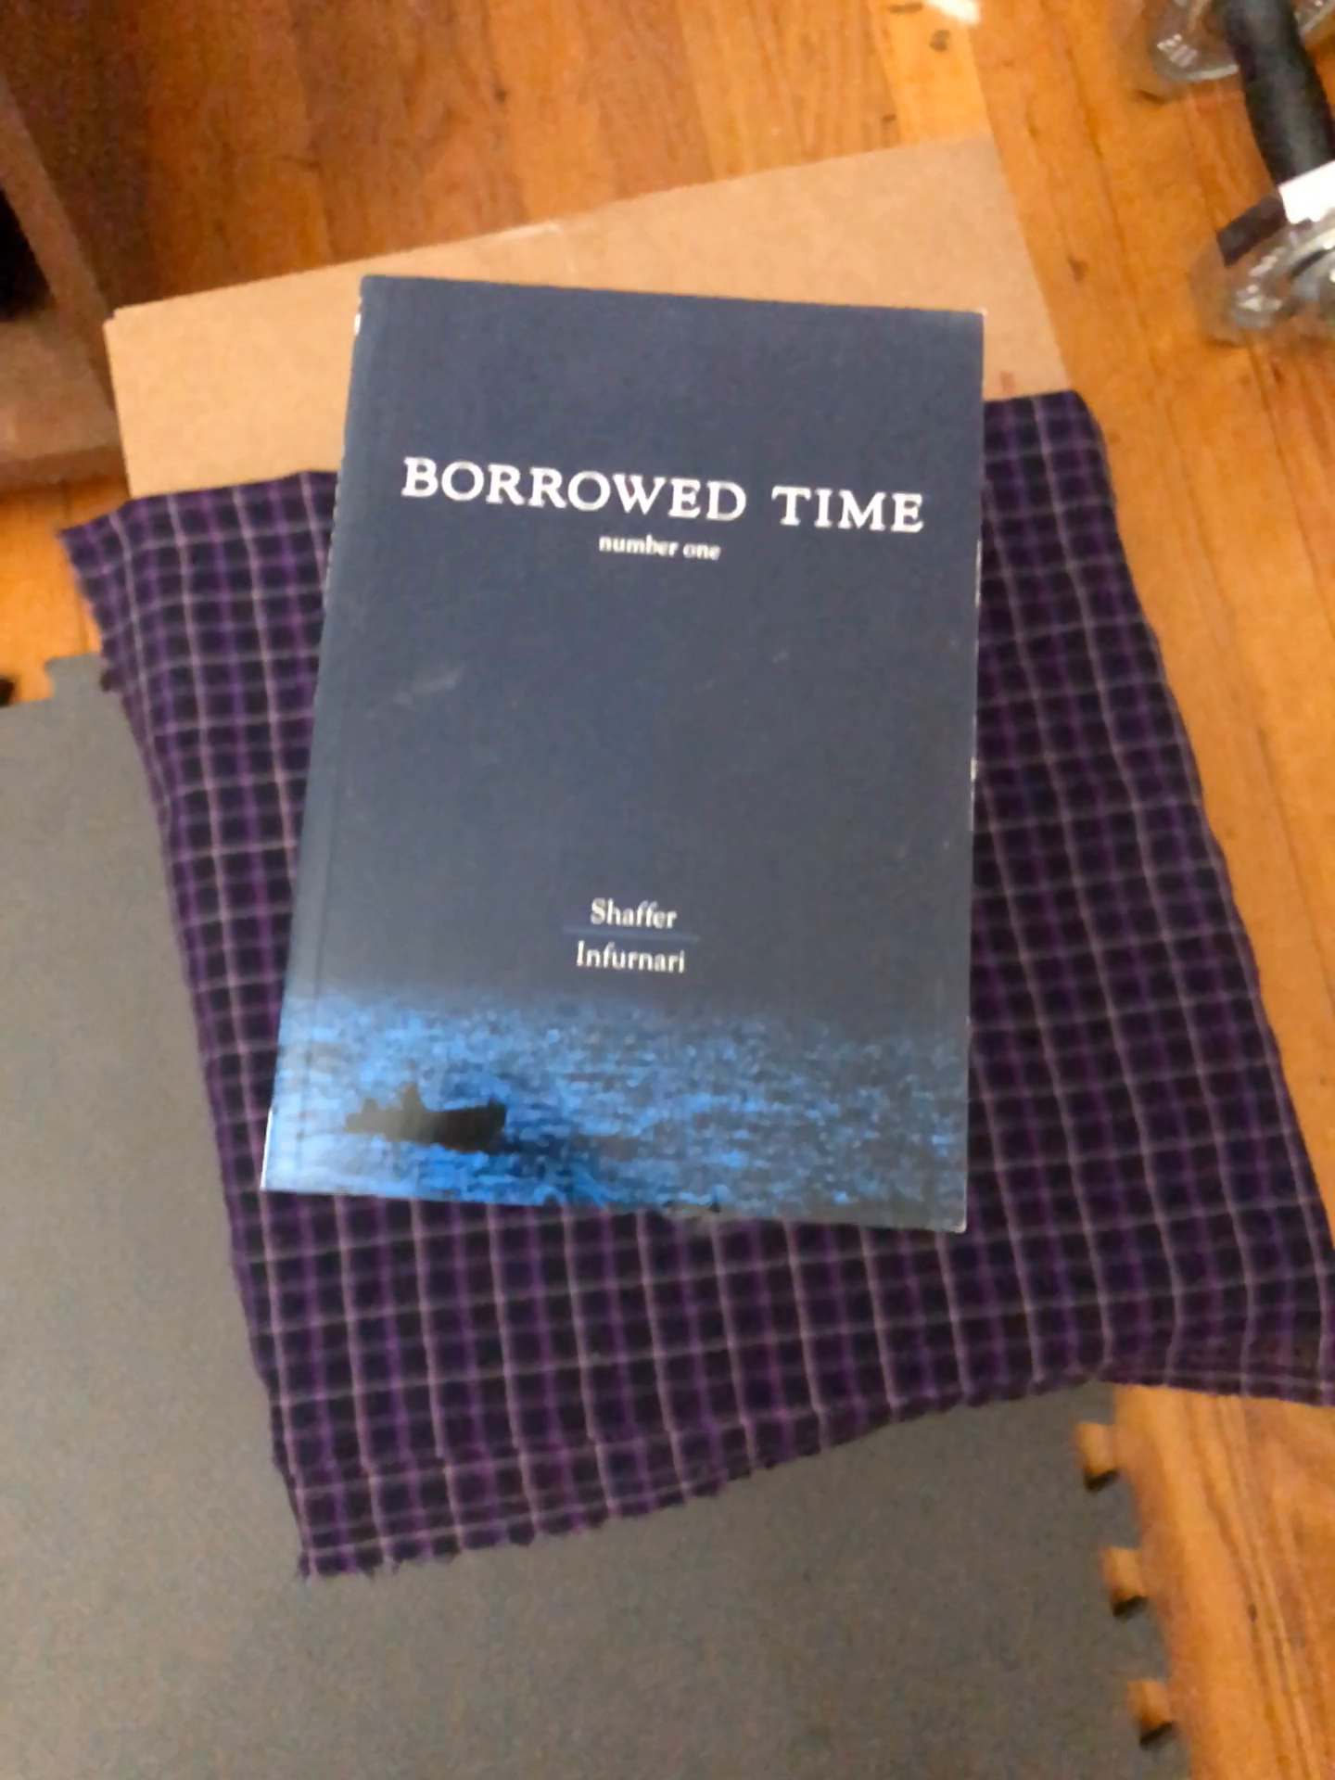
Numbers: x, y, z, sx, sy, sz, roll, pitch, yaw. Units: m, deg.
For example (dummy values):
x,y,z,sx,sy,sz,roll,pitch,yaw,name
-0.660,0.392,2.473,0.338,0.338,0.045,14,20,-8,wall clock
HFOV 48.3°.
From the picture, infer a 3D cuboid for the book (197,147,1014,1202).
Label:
x,y,z,sx,sy,sz,roll,pitch,yaw,name
-0.006,-0.054,0.324,0.160,0.010,0.230,4,76,-1,book
